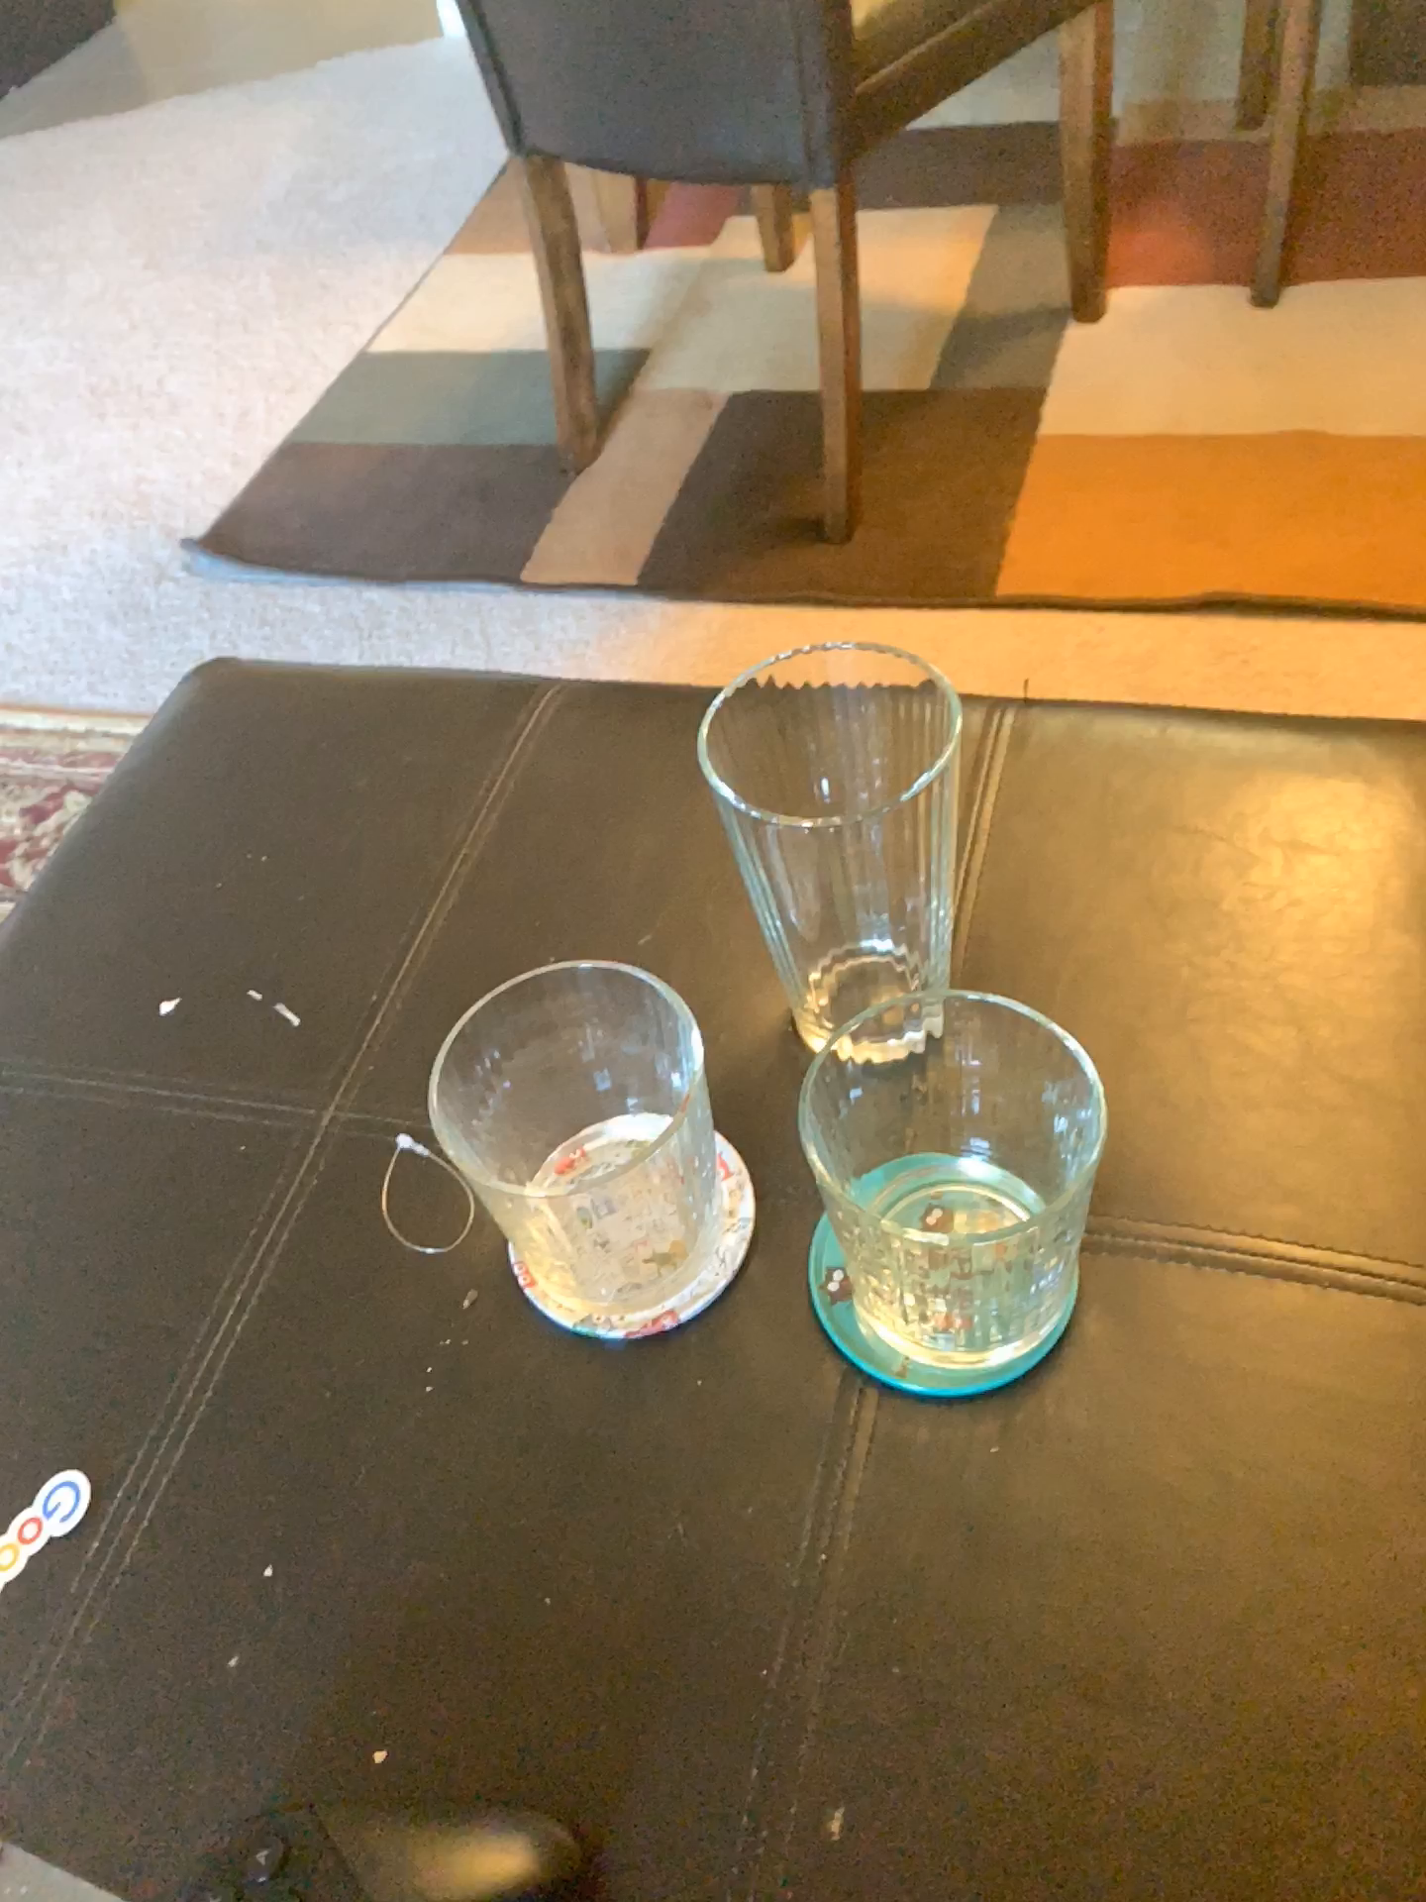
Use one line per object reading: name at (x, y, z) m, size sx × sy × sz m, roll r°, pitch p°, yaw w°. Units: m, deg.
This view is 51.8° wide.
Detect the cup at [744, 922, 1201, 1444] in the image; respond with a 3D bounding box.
cup at (0.082, 0.071, 0.459) m, size 0.090 × 0.090 × 0.100 m, roll 29°, pitch 61°, yaw 31°

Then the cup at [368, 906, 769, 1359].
cup at (-0.046, 0.065, 0.523) m, size 0.080 × 0.109 × 0.090 m, roll 29°, pitch 61°, yaw 31°

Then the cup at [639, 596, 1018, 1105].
cup at (0.047, -0.033, 0.520) m, size 0.090 × 0.139 × 0.080 m, roll 29°, pitch 61°, yaw 31°
